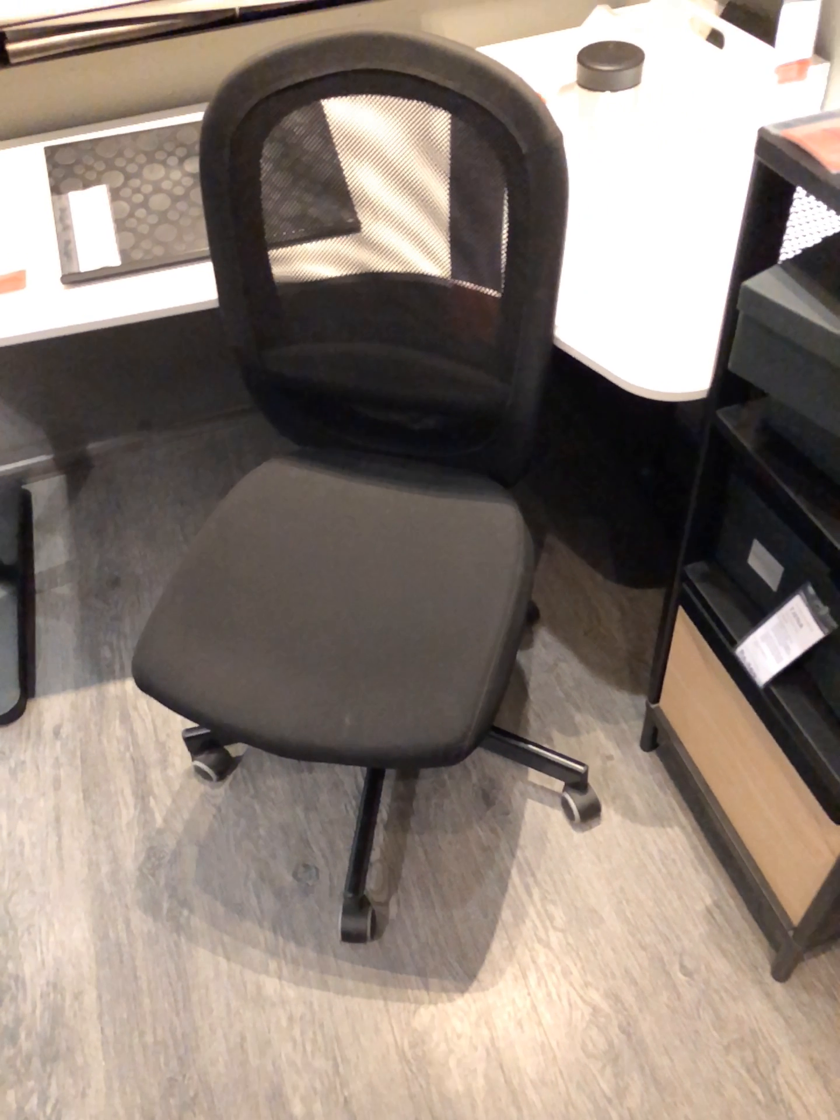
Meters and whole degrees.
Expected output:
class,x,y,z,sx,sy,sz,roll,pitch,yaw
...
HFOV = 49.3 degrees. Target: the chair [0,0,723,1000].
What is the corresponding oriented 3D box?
class,x,y,z,sx,sy,sz,roll,pitch,yaw
chair,-0.059,-0.062,1.090,0.630,0.884,0.714,8,50,13
